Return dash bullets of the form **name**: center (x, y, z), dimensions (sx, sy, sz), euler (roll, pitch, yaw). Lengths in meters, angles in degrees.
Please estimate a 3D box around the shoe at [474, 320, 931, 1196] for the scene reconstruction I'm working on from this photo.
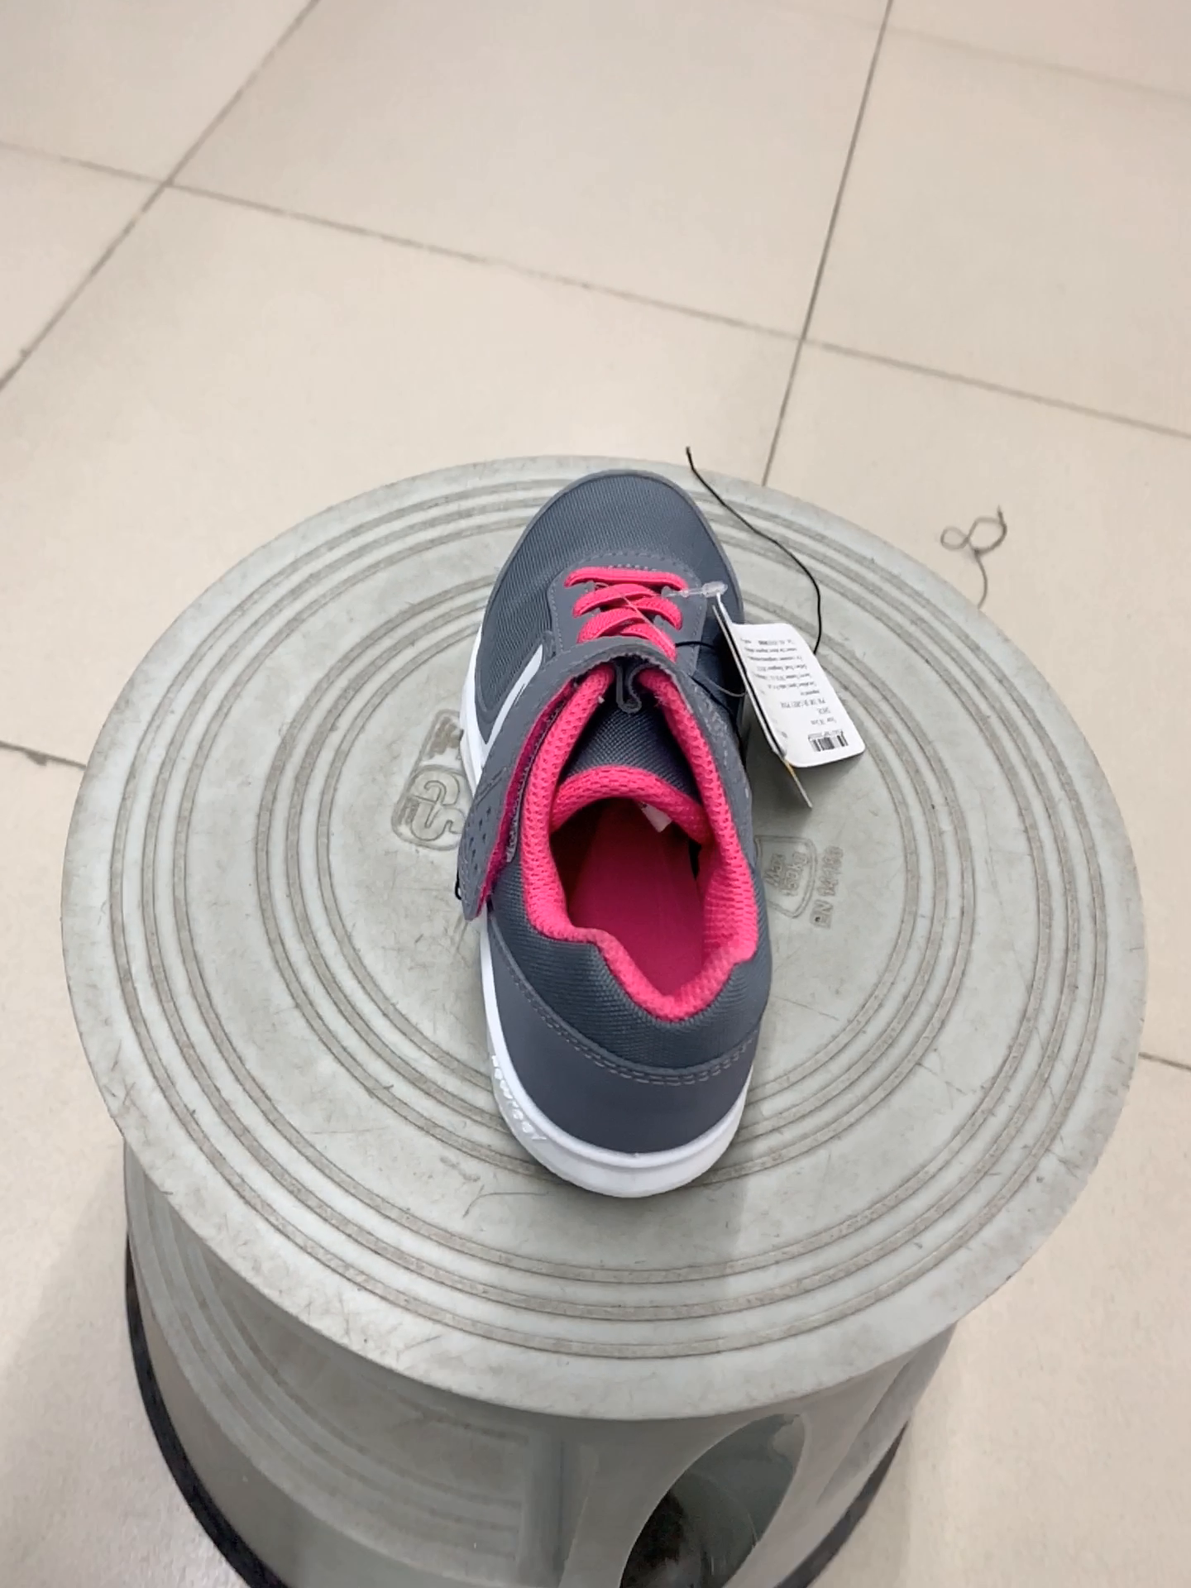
- **shoe**: center (0.013, -0.010, 0.273), dimensions (0.070, 0.090, 0.170), euler (3, 57, -5)
